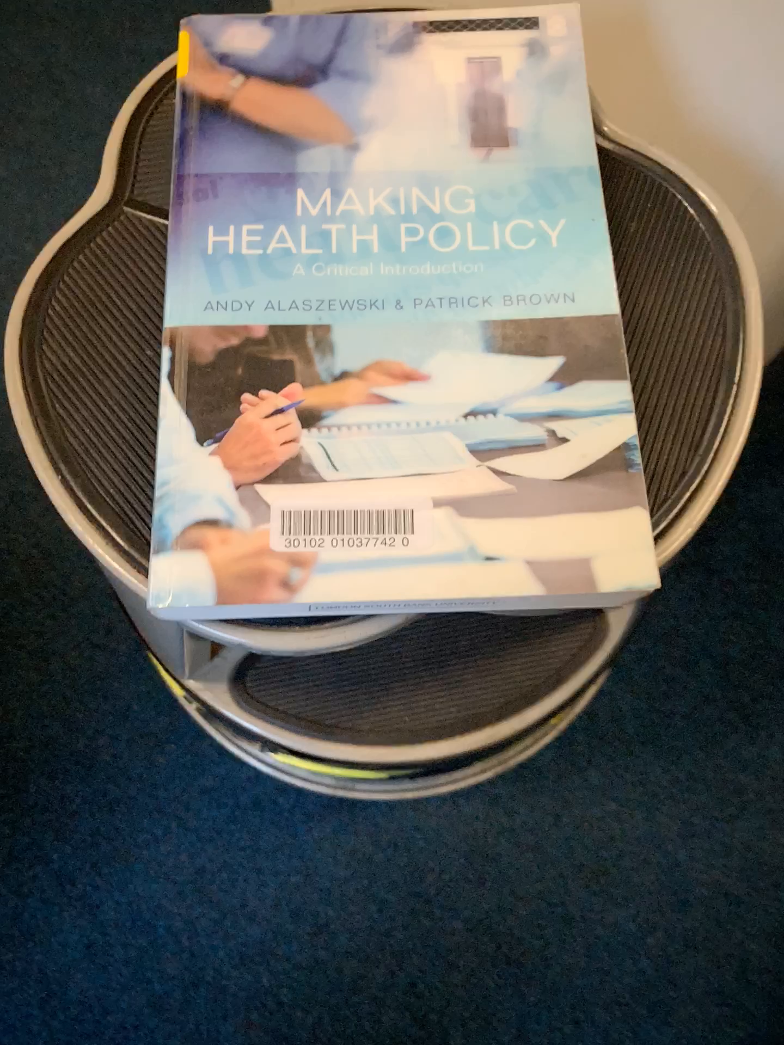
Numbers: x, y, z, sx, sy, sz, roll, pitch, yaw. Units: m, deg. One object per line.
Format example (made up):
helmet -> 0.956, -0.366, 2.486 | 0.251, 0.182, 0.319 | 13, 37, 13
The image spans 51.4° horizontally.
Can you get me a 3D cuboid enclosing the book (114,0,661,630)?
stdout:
book -> -0.004, -0.085, 0.292 | 0.160, 0.030, 0.241 | -1, 71, 0
